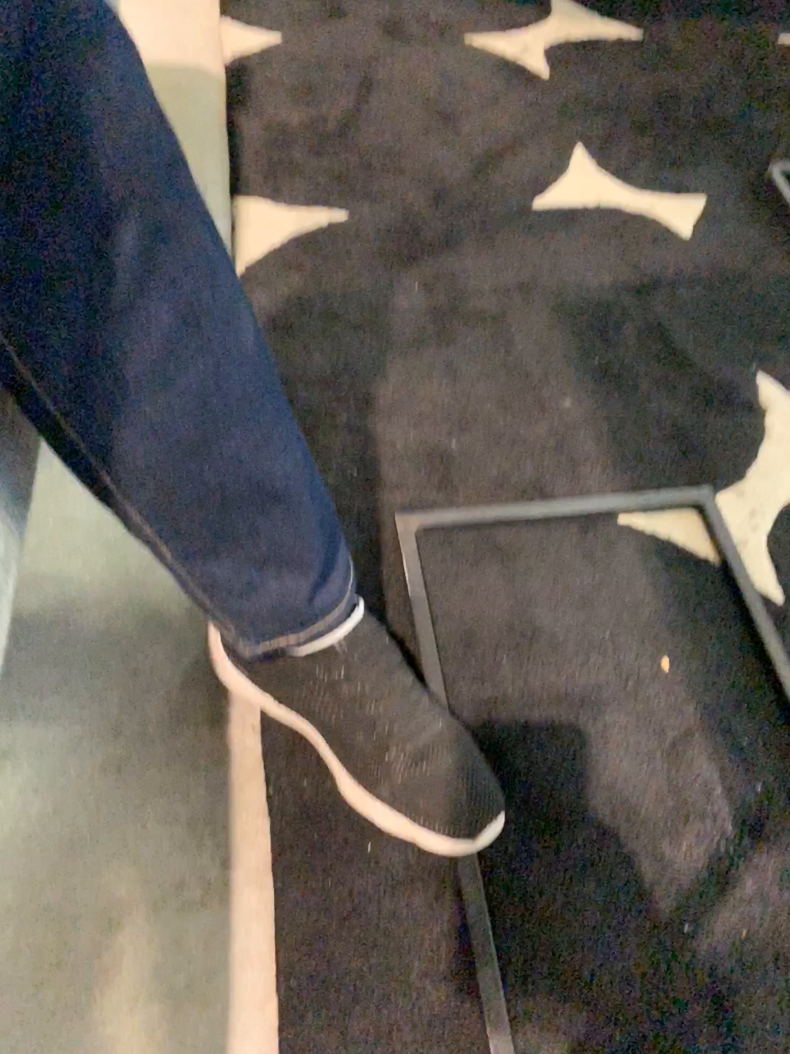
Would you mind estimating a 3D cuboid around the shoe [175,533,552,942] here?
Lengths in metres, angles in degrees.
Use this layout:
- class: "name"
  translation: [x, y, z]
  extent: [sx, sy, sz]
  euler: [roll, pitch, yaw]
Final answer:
- class: "shoe"
  translation: [-0.034, 0.153, 0.642]
  extent: [0.116, 0.074, 0.304]
  euler: [-35, 65, -25]
